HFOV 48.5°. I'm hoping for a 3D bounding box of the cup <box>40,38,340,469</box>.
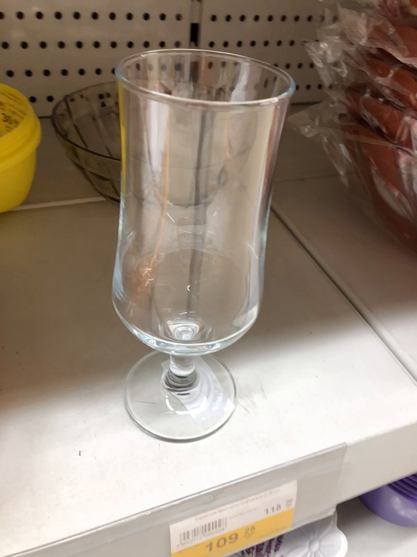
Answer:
[{"bbox_3d":[-0.010,-0.005,0.225,0.079,0.177,0.079,4,39,-3],"label":"cup"}]
